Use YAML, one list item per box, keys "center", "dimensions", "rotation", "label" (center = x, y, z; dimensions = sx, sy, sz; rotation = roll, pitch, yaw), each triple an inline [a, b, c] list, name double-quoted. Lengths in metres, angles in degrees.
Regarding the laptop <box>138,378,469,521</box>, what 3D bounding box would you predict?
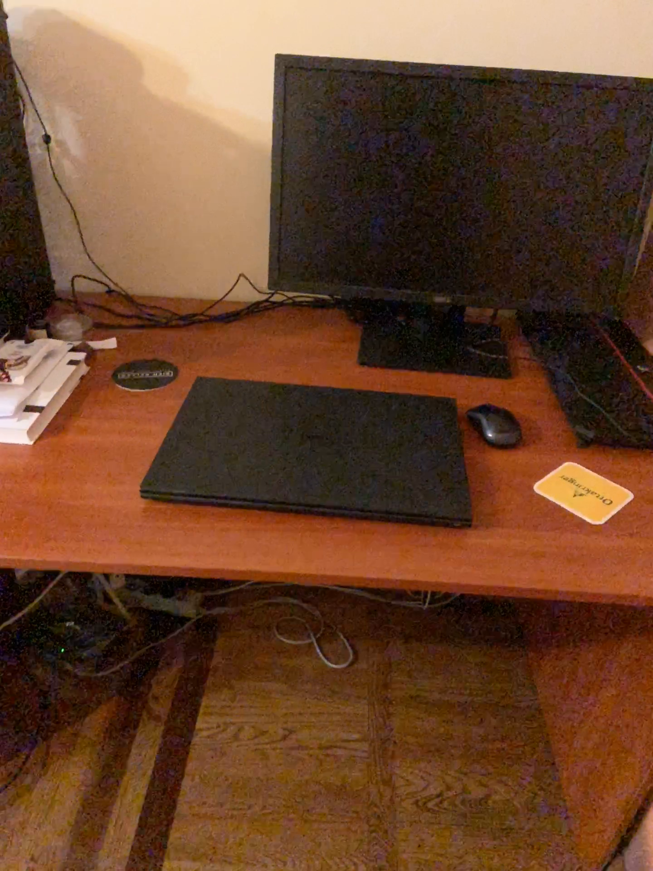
- center: [-0.014, 0.005, 0.819]
  dimensions: [0.359, 0.002, 0.249]
  rotation: [5, 34, 2]
  label: "laptop"
